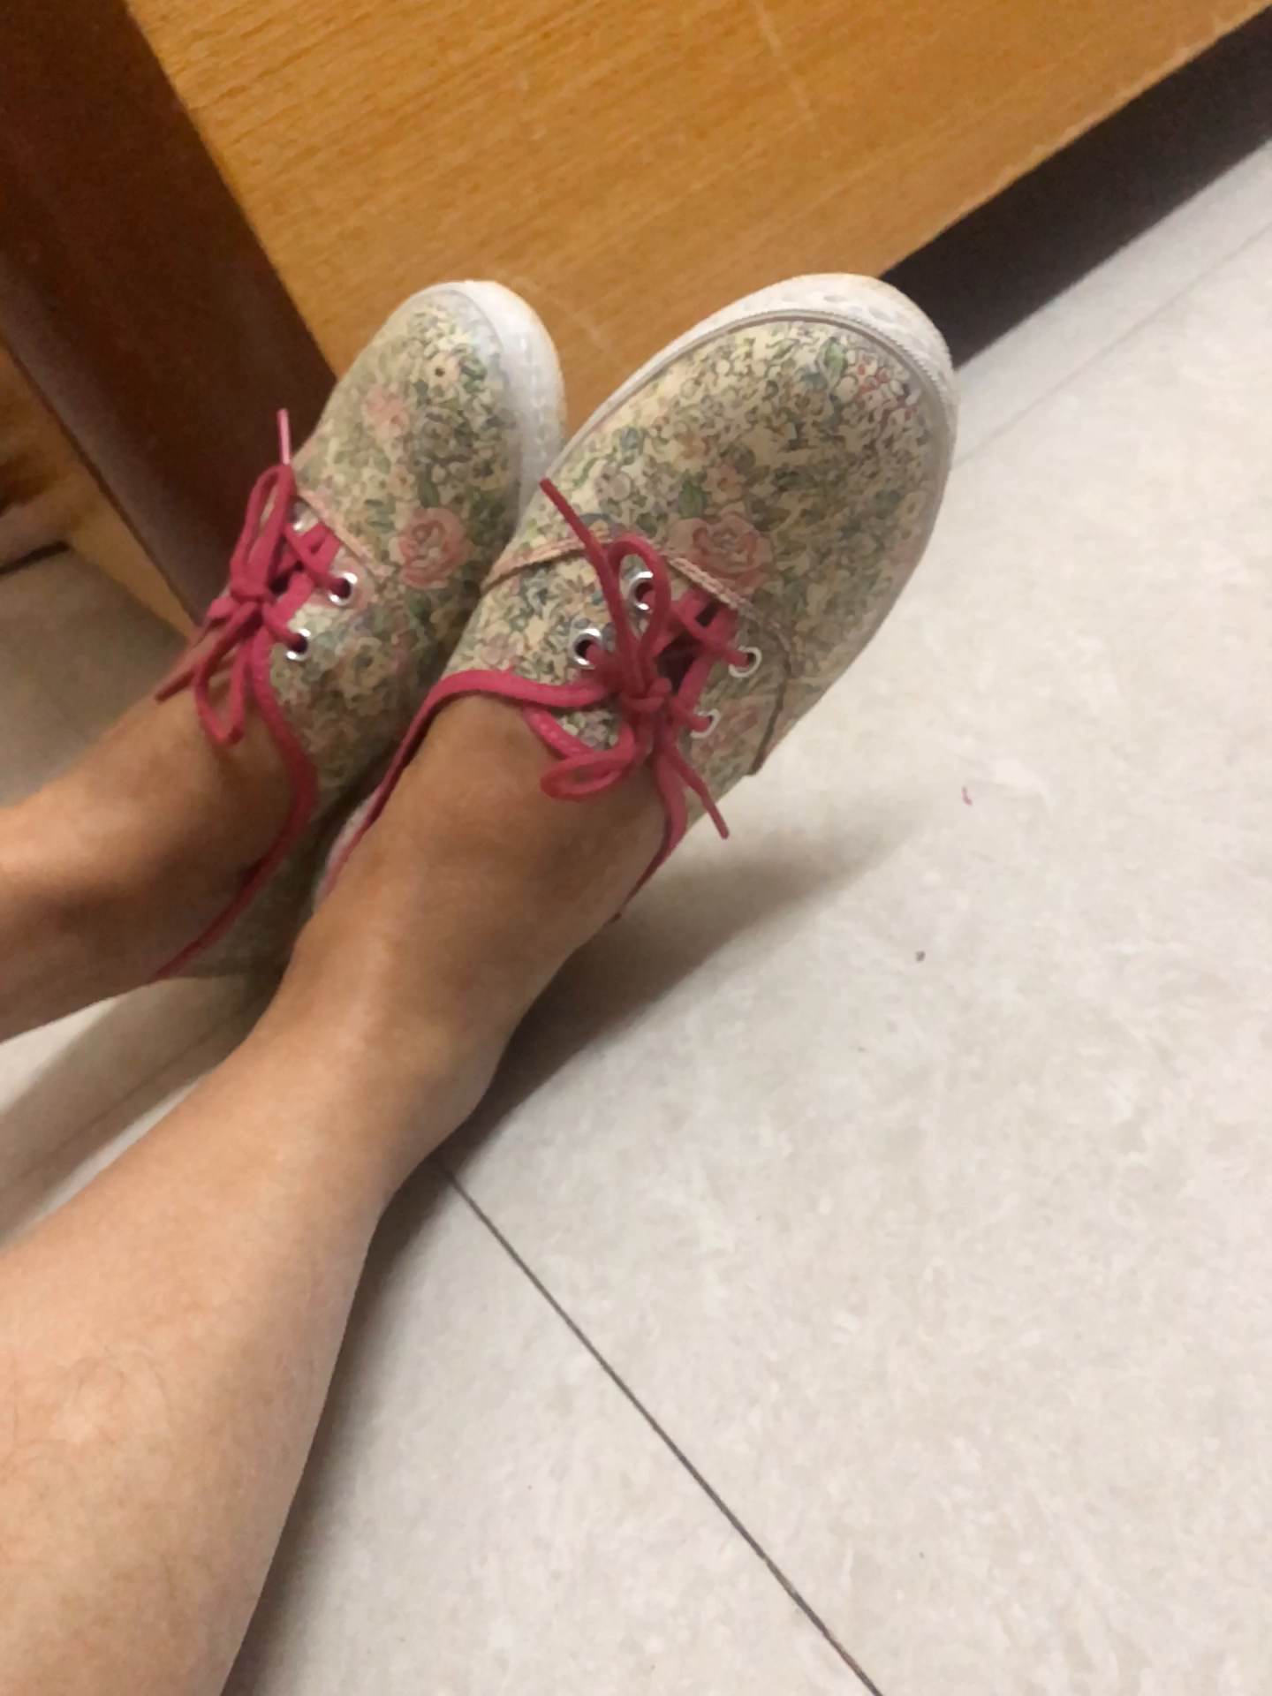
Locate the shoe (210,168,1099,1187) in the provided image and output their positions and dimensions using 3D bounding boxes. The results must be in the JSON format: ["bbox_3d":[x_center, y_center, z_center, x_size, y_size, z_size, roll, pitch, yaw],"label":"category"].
[{"bbox_3d":[-0.008,-0.028,0.370,0.259,0.090,0.070,-51,9,33],"label":"shoe"}]

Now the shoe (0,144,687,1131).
[{"bbox_3d":[-0.102,-0.043,0.397,0.070,0.090,0.259,-19,-29,-53],"label":"shoe"}]
